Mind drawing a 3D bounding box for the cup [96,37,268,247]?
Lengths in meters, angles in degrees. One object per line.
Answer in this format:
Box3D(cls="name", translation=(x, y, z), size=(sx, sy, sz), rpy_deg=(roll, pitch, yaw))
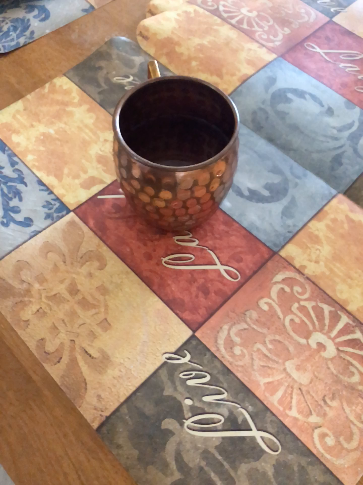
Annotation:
Box3D(cls="cup", translation=(-0.005, -0.078, 0.322), size=(0.100, 0.090, 0.120), rpy_deg=(-9, 63, -5))
